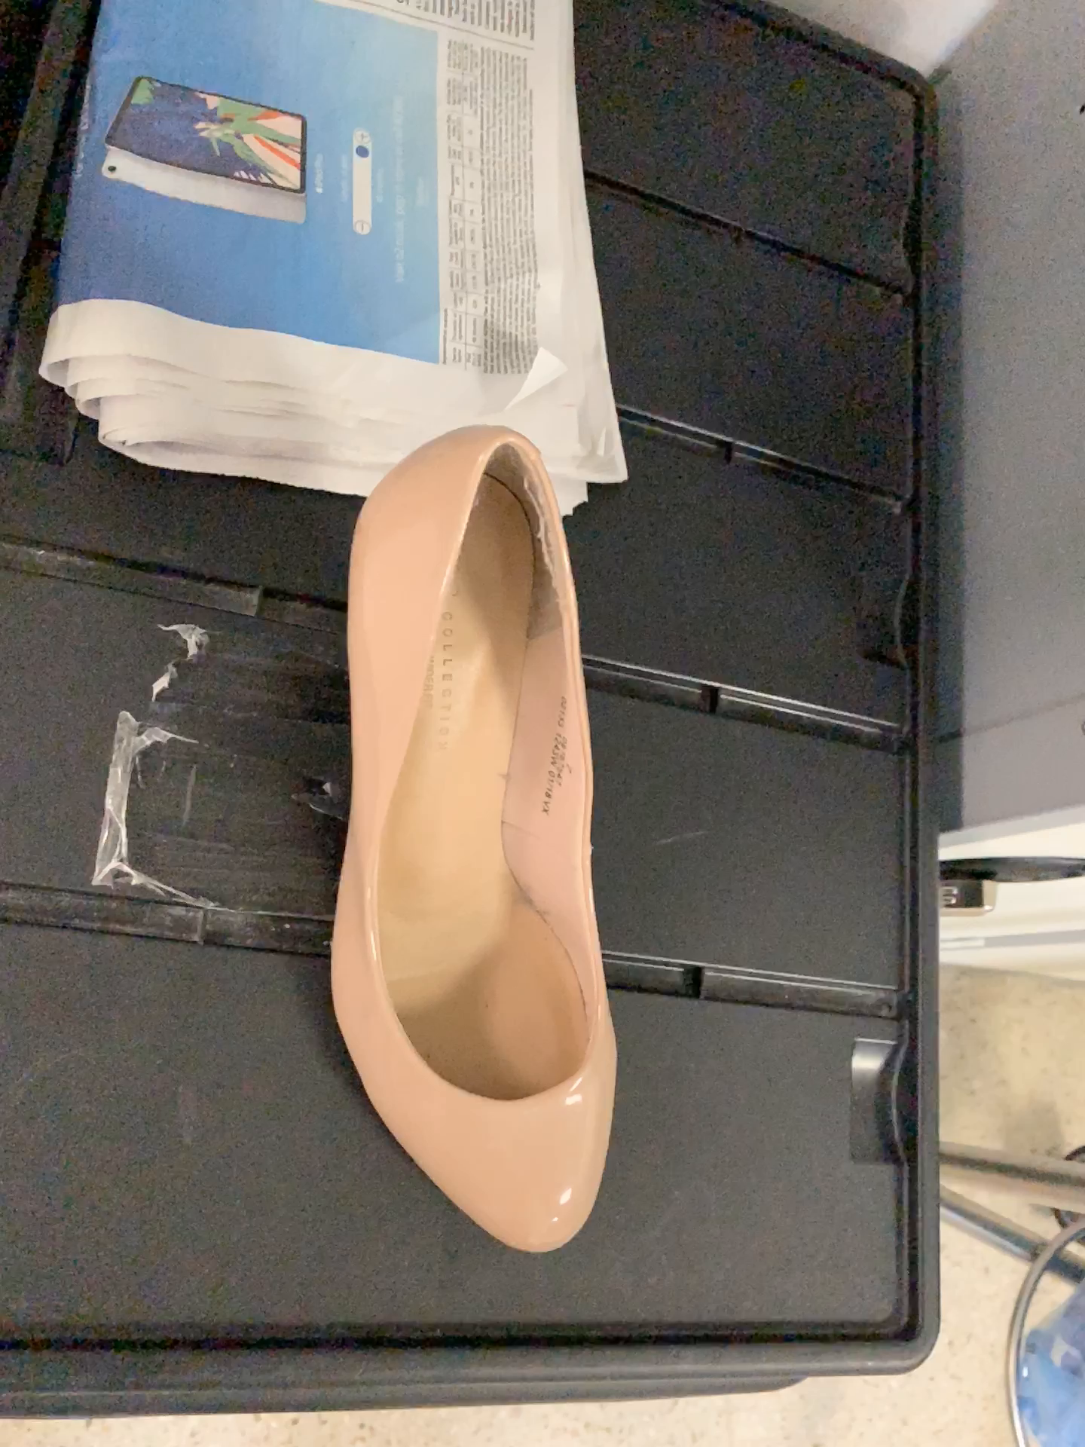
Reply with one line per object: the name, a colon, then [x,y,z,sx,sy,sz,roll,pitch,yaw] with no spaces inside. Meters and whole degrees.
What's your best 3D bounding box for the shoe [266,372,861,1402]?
shoe: [-0.011,0.040,0.341,0.097,0.141,0.240,-5,79,-23]
